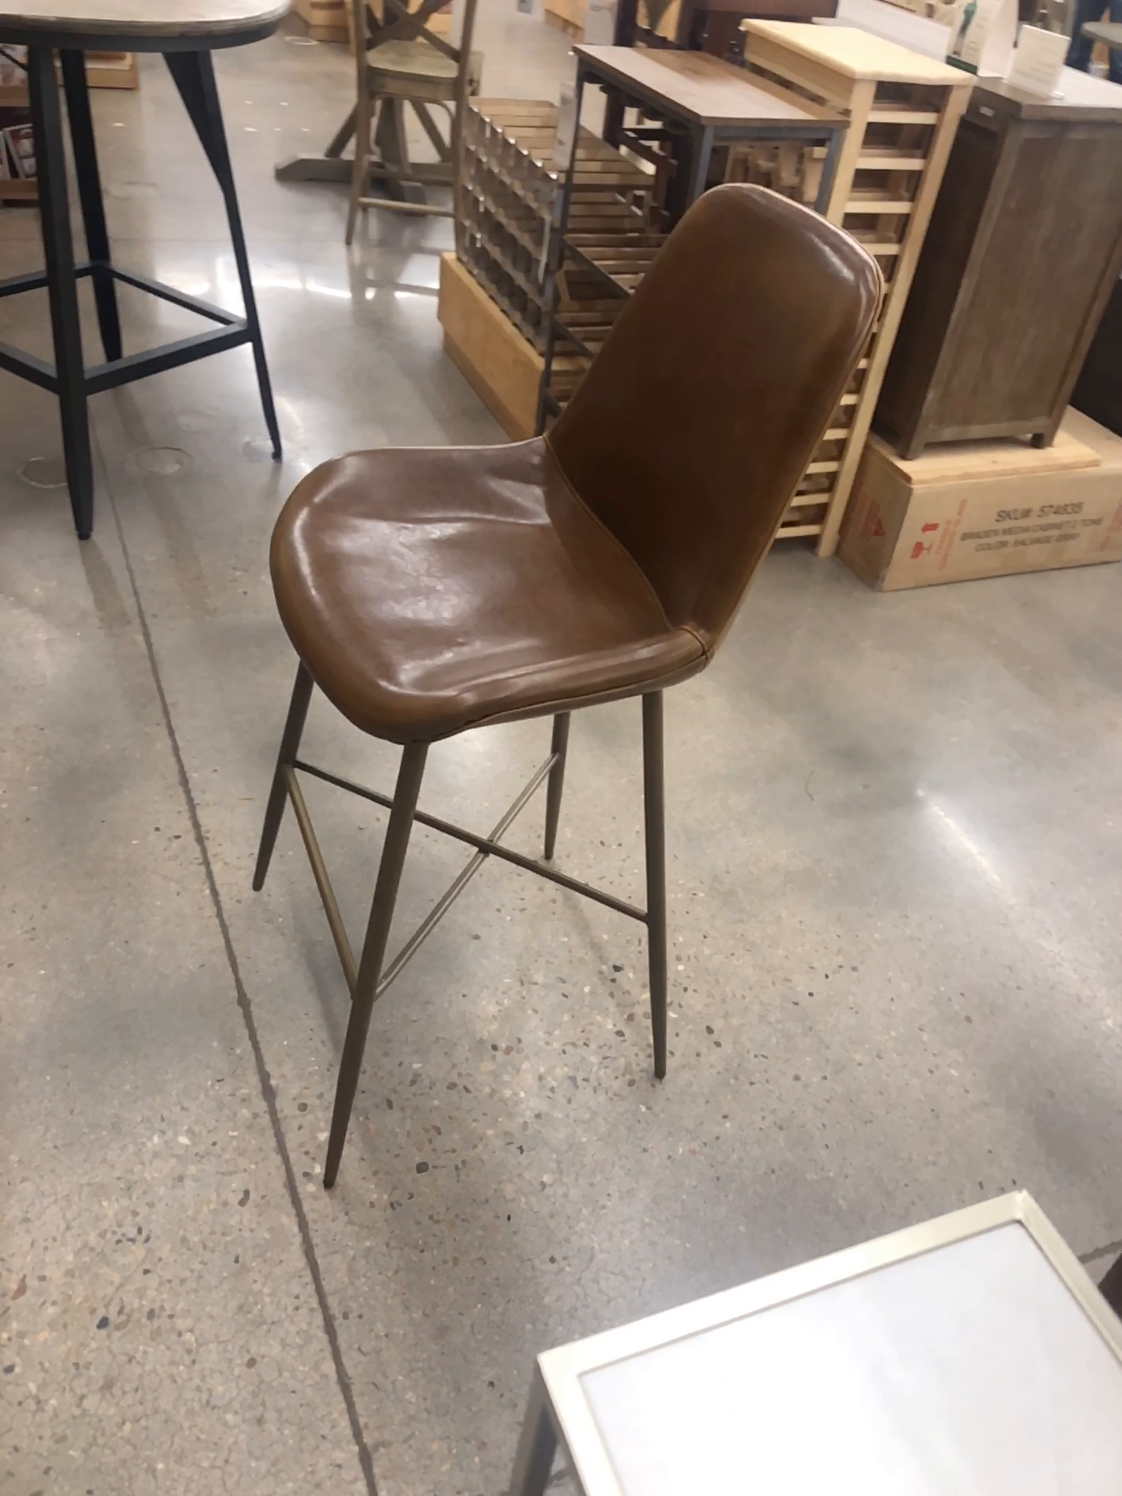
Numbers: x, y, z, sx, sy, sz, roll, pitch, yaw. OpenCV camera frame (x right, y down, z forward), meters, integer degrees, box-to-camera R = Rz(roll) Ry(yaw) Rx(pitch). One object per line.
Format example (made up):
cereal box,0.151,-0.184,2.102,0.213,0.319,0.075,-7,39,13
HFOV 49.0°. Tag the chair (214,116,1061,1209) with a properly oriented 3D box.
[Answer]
chair,-0.030,-0.085,1.467,0.611,1.054,0.605,-8,41,-20
